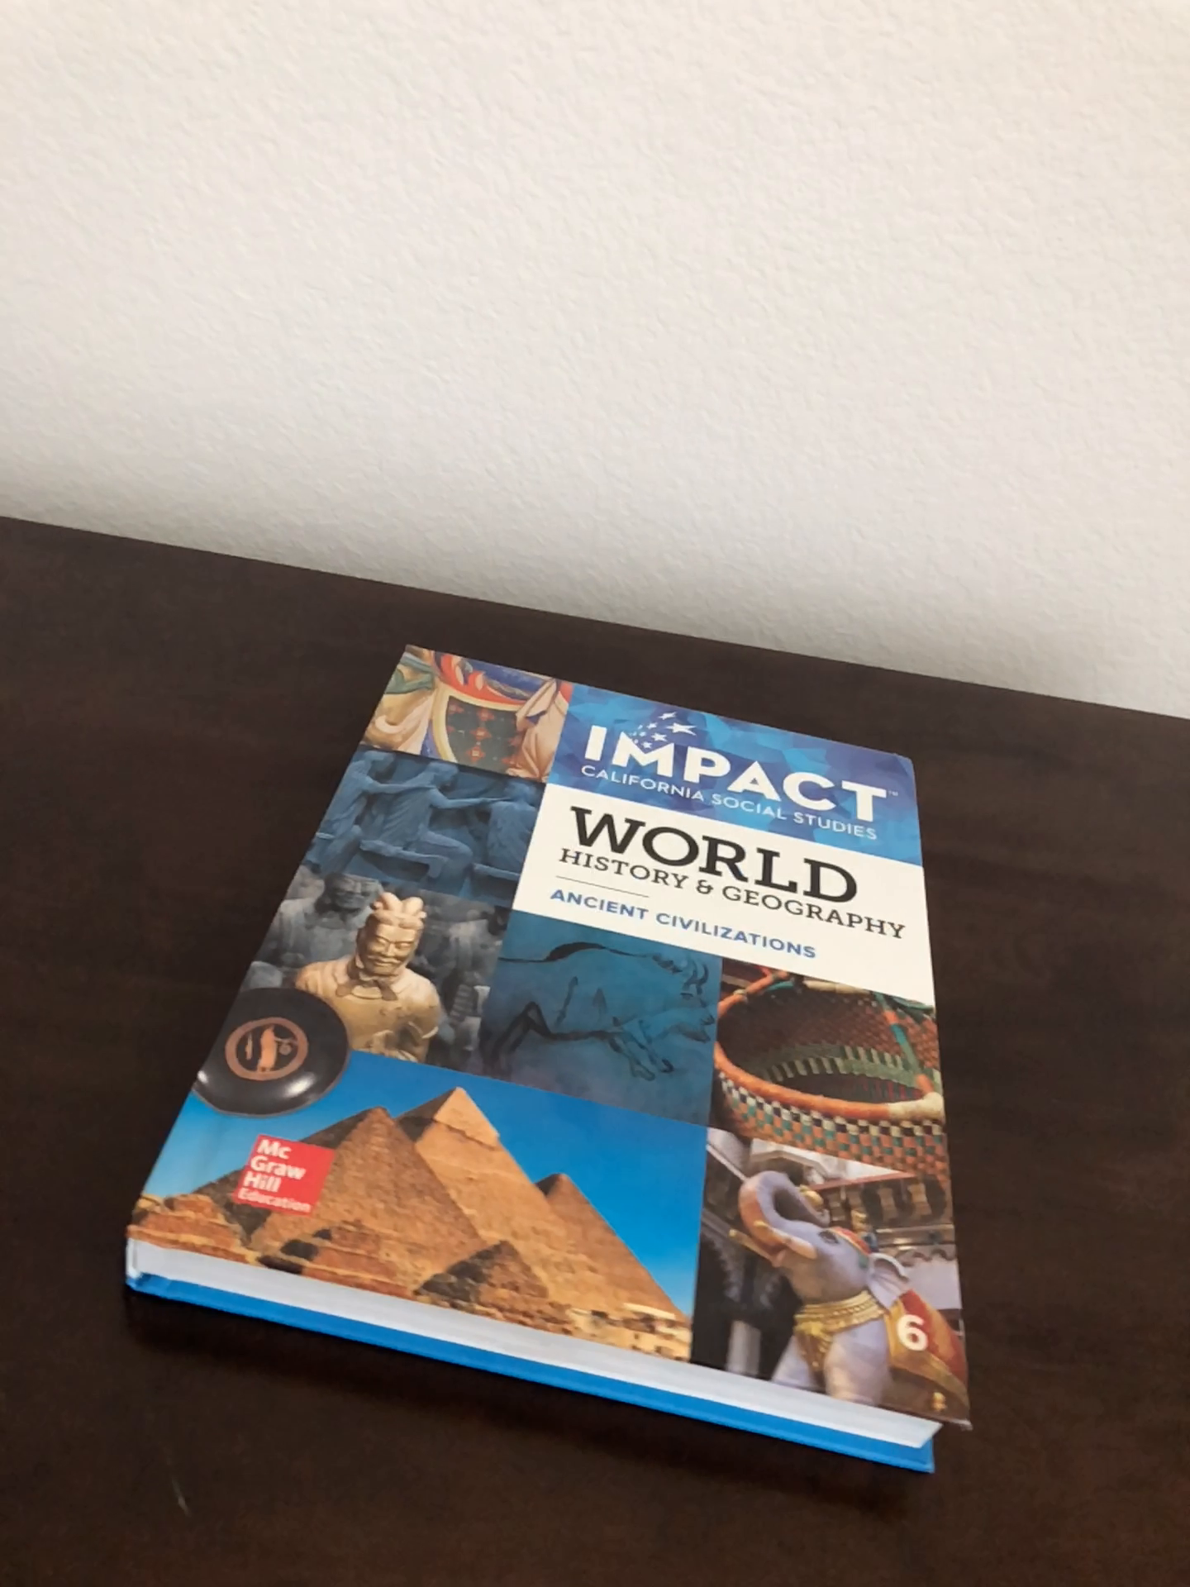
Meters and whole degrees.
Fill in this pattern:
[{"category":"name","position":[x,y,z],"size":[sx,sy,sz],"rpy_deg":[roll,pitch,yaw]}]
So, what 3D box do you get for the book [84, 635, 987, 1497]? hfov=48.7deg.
[{"category":"book","position":[0.003,0.058,0.443],"size":[0.227,0.030,0.286],"rpy_deg":[13,39,0]}]
